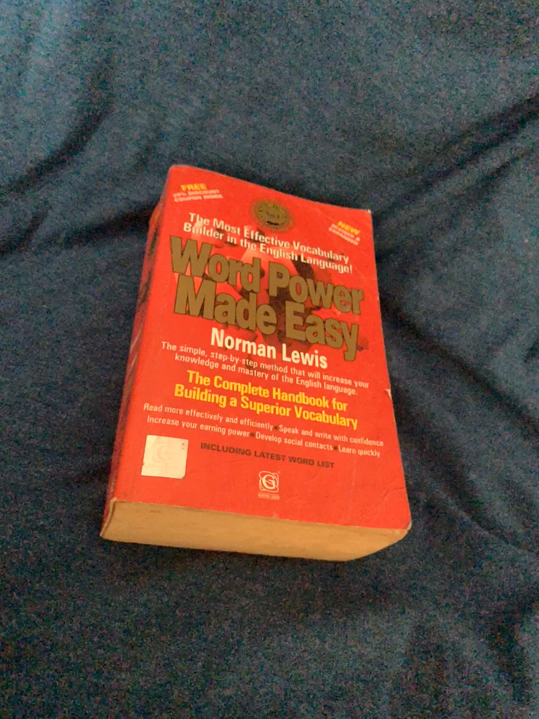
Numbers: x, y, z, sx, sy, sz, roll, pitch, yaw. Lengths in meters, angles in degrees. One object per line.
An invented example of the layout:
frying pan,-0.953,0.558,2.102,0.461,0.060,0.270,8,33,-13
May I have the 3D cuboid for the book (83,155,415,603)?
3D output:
book,-0.001,0.003,0.271,0.120,0.050,0.191,16,56,-15
